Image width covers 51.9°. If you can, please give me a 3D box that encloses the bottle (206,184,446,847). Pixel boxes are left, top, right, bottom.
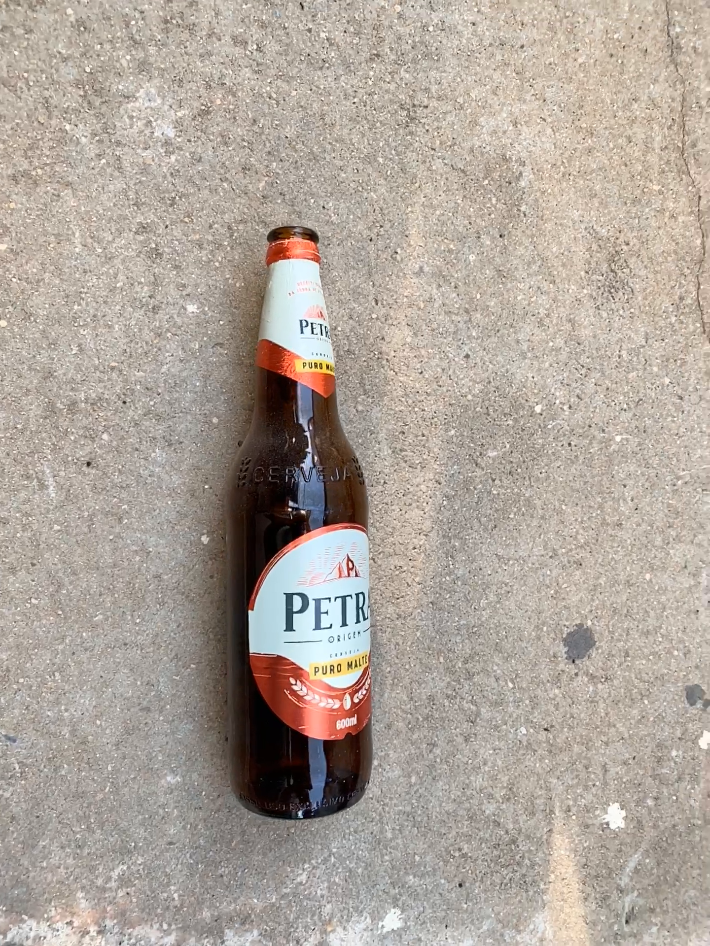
[{"bbox_3d":[-0.015,0.017,0.350,0.080,0.070,0.270,3,83,-46],"label":"bottle"}]
